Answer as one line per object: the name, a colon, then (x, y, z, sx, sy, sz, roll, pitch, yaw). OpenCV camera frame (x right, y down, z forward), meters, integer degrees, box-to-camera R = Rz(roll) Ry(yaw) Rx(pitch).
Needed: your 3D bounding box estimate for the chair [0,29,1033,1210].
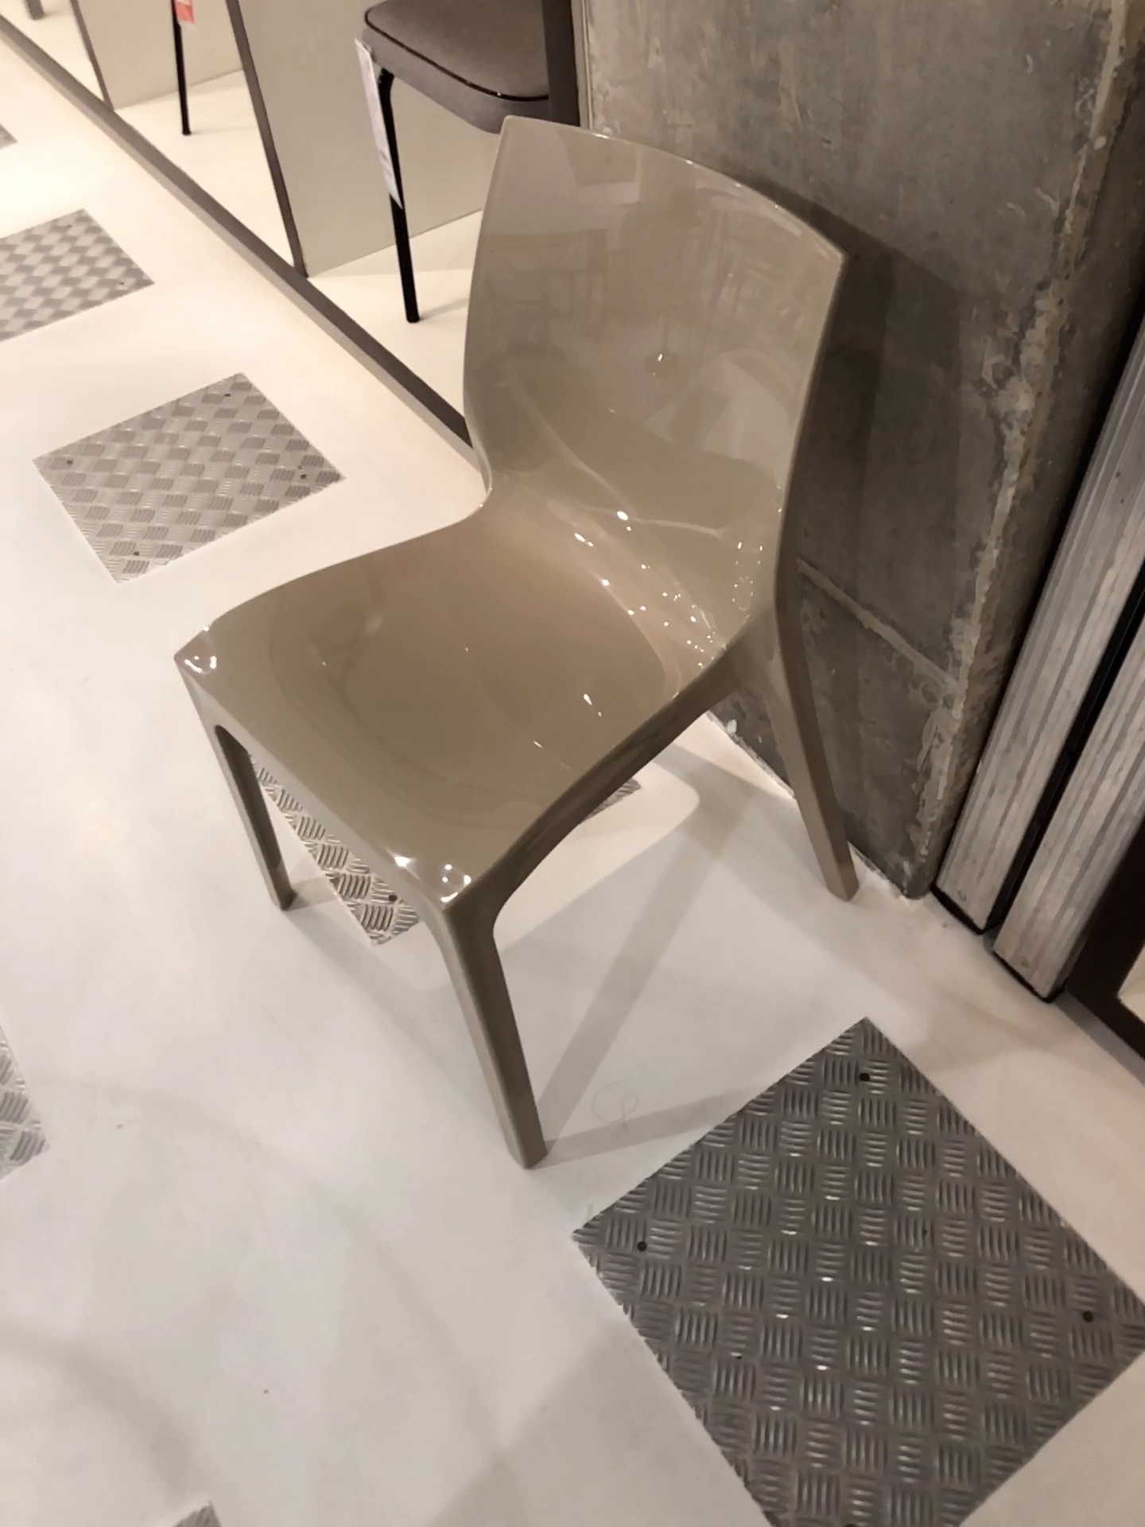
chair: (-0.043, -0.109, 1.223, 0.561, 0.824, 0.552, -37, 57, -23)
